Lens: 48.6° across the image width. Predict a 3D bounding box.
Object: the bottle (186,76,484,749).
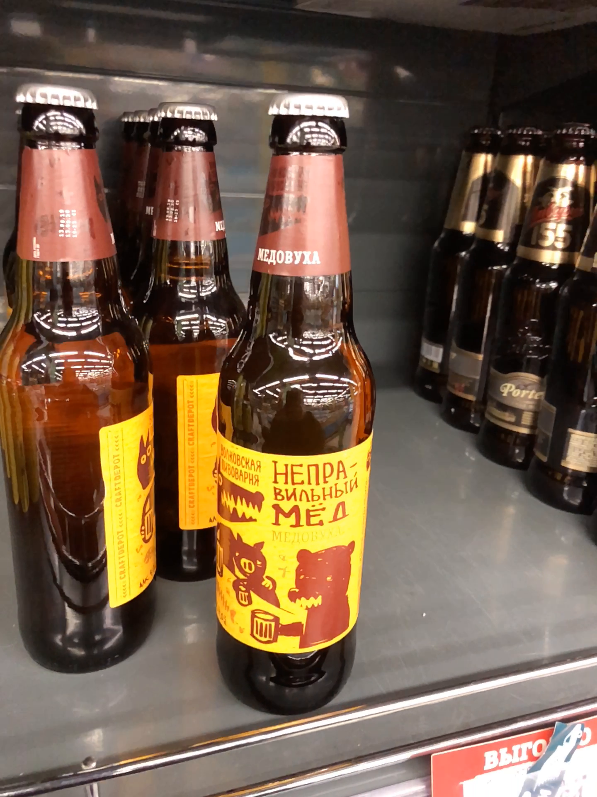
[{"bbox_3d":[0.002,0.011,0.266,0.080,0.243,0.070,-4,22,-20],"label":"bottle"}]
